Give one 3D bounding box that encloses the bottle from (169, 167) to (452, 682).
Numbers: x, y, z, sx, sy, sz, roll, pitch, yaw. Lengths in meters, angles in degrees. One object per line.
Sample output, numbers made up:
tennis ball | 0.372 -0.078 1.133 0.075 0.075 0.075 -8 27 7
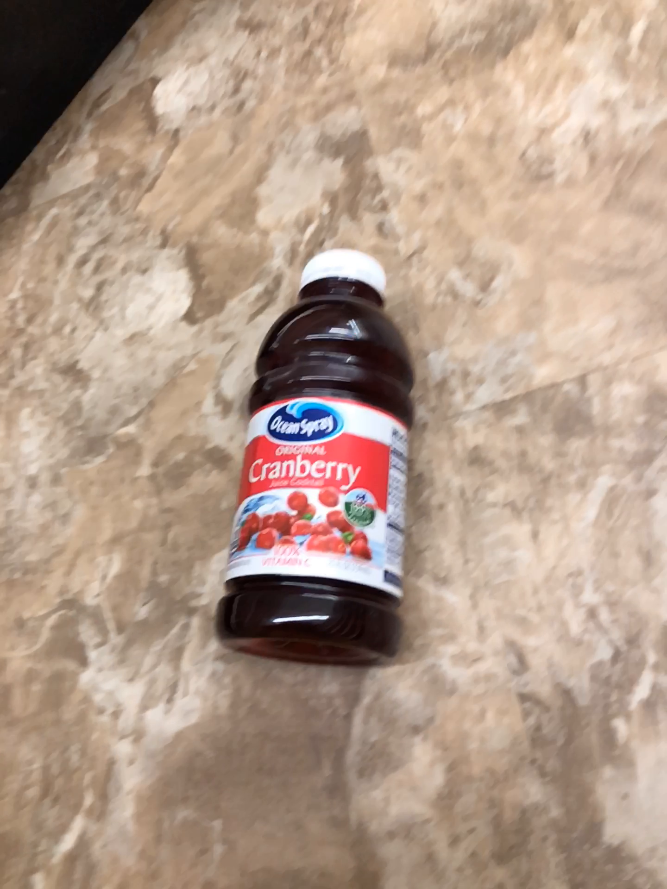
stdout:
bottle | 0.001 -0.010 0.360 0.090 0.083 0.226 -4 64 22
